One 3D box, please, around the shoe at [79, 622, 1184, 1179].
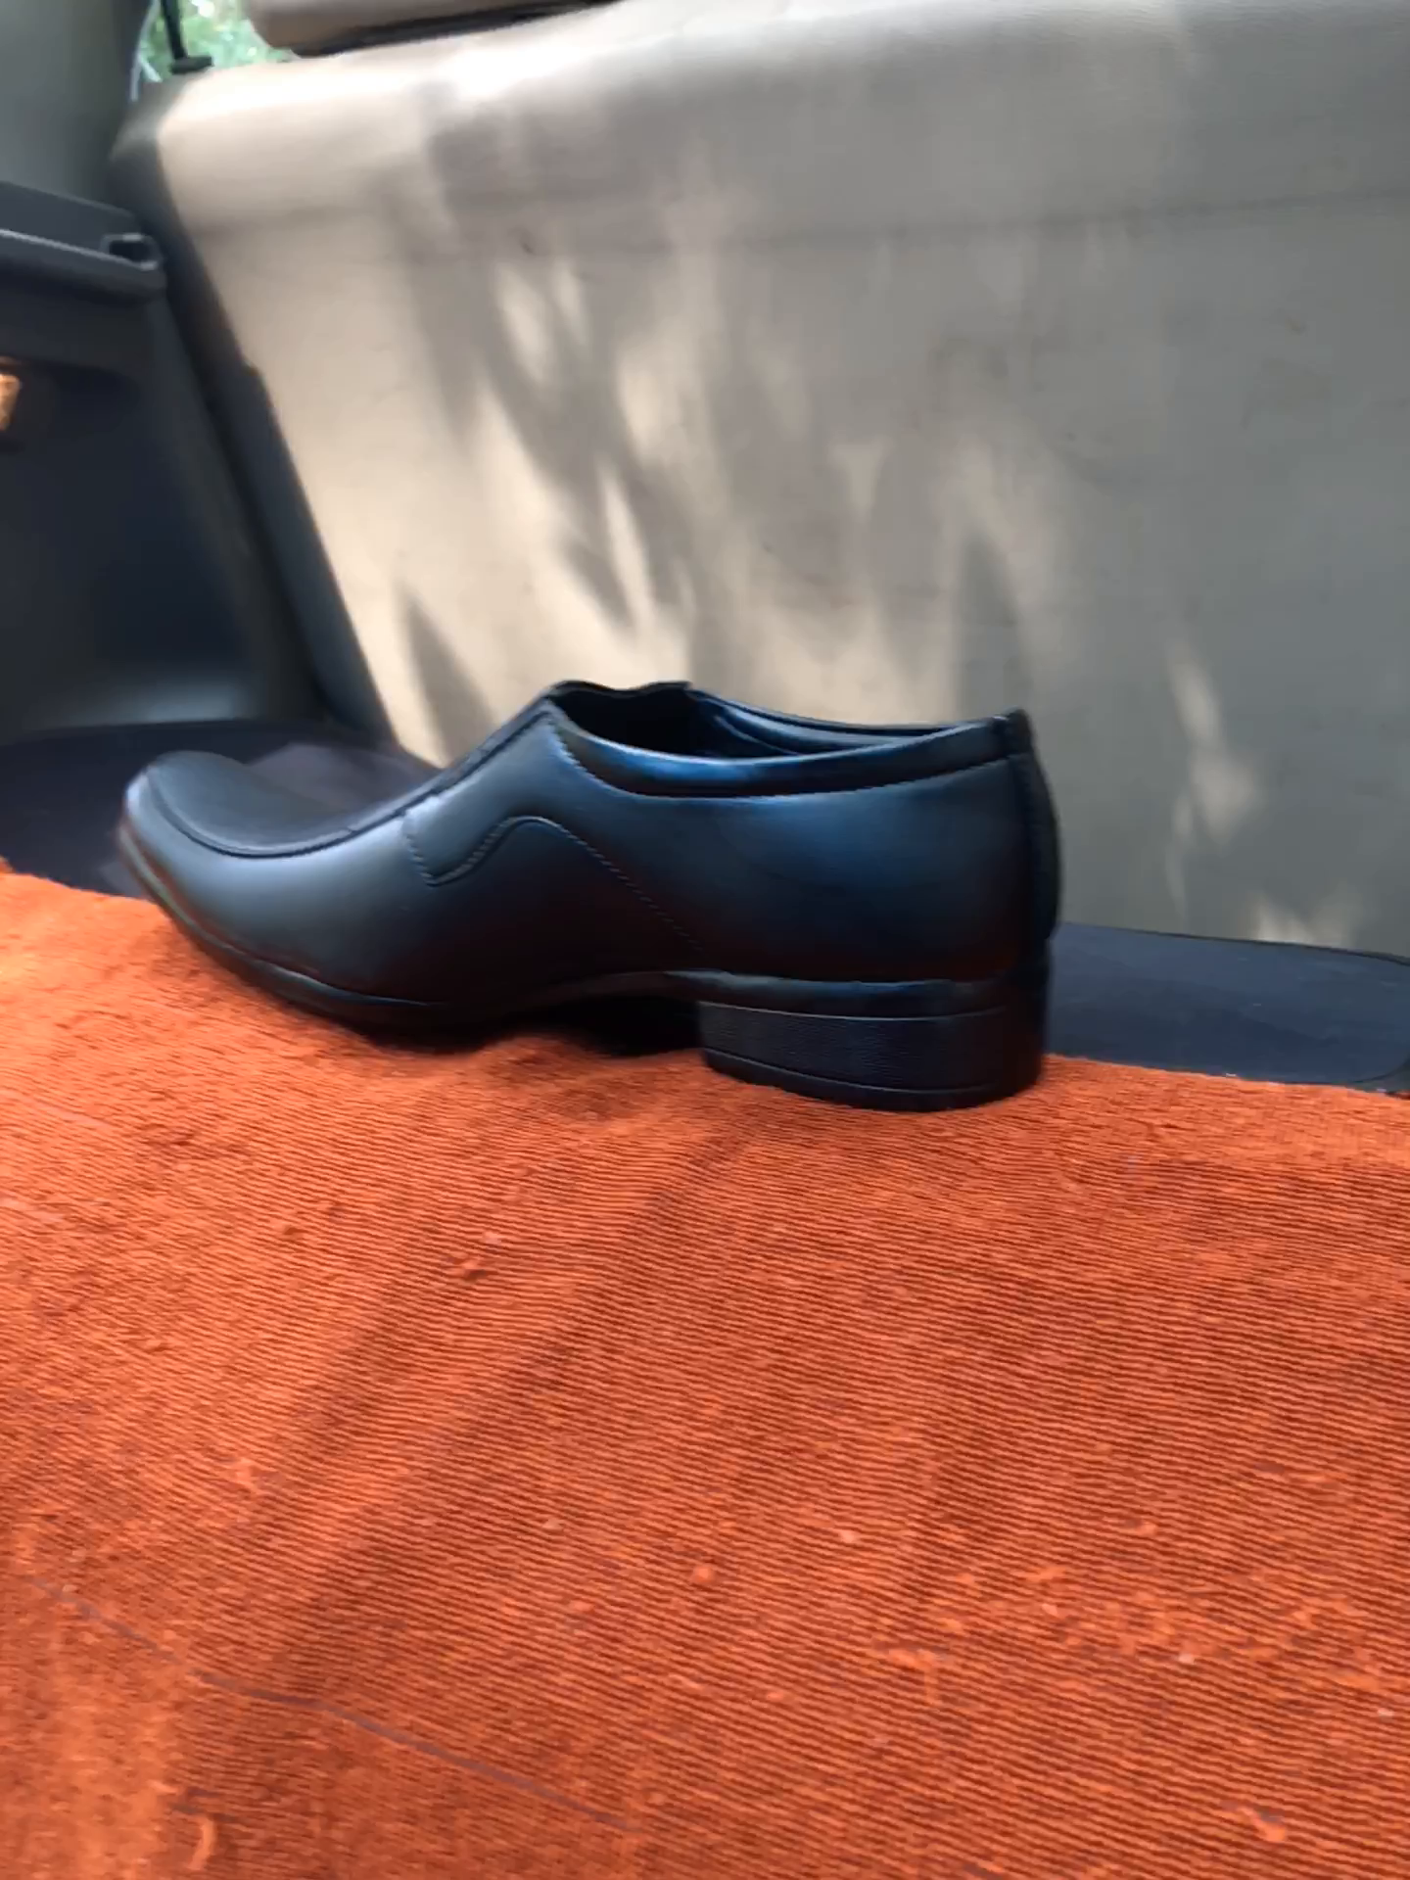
[{"bbox_3d":[-0.030,-0.036,0.472,0.290,0.100,0.161,12,18,36],"label":"shoe"}]
